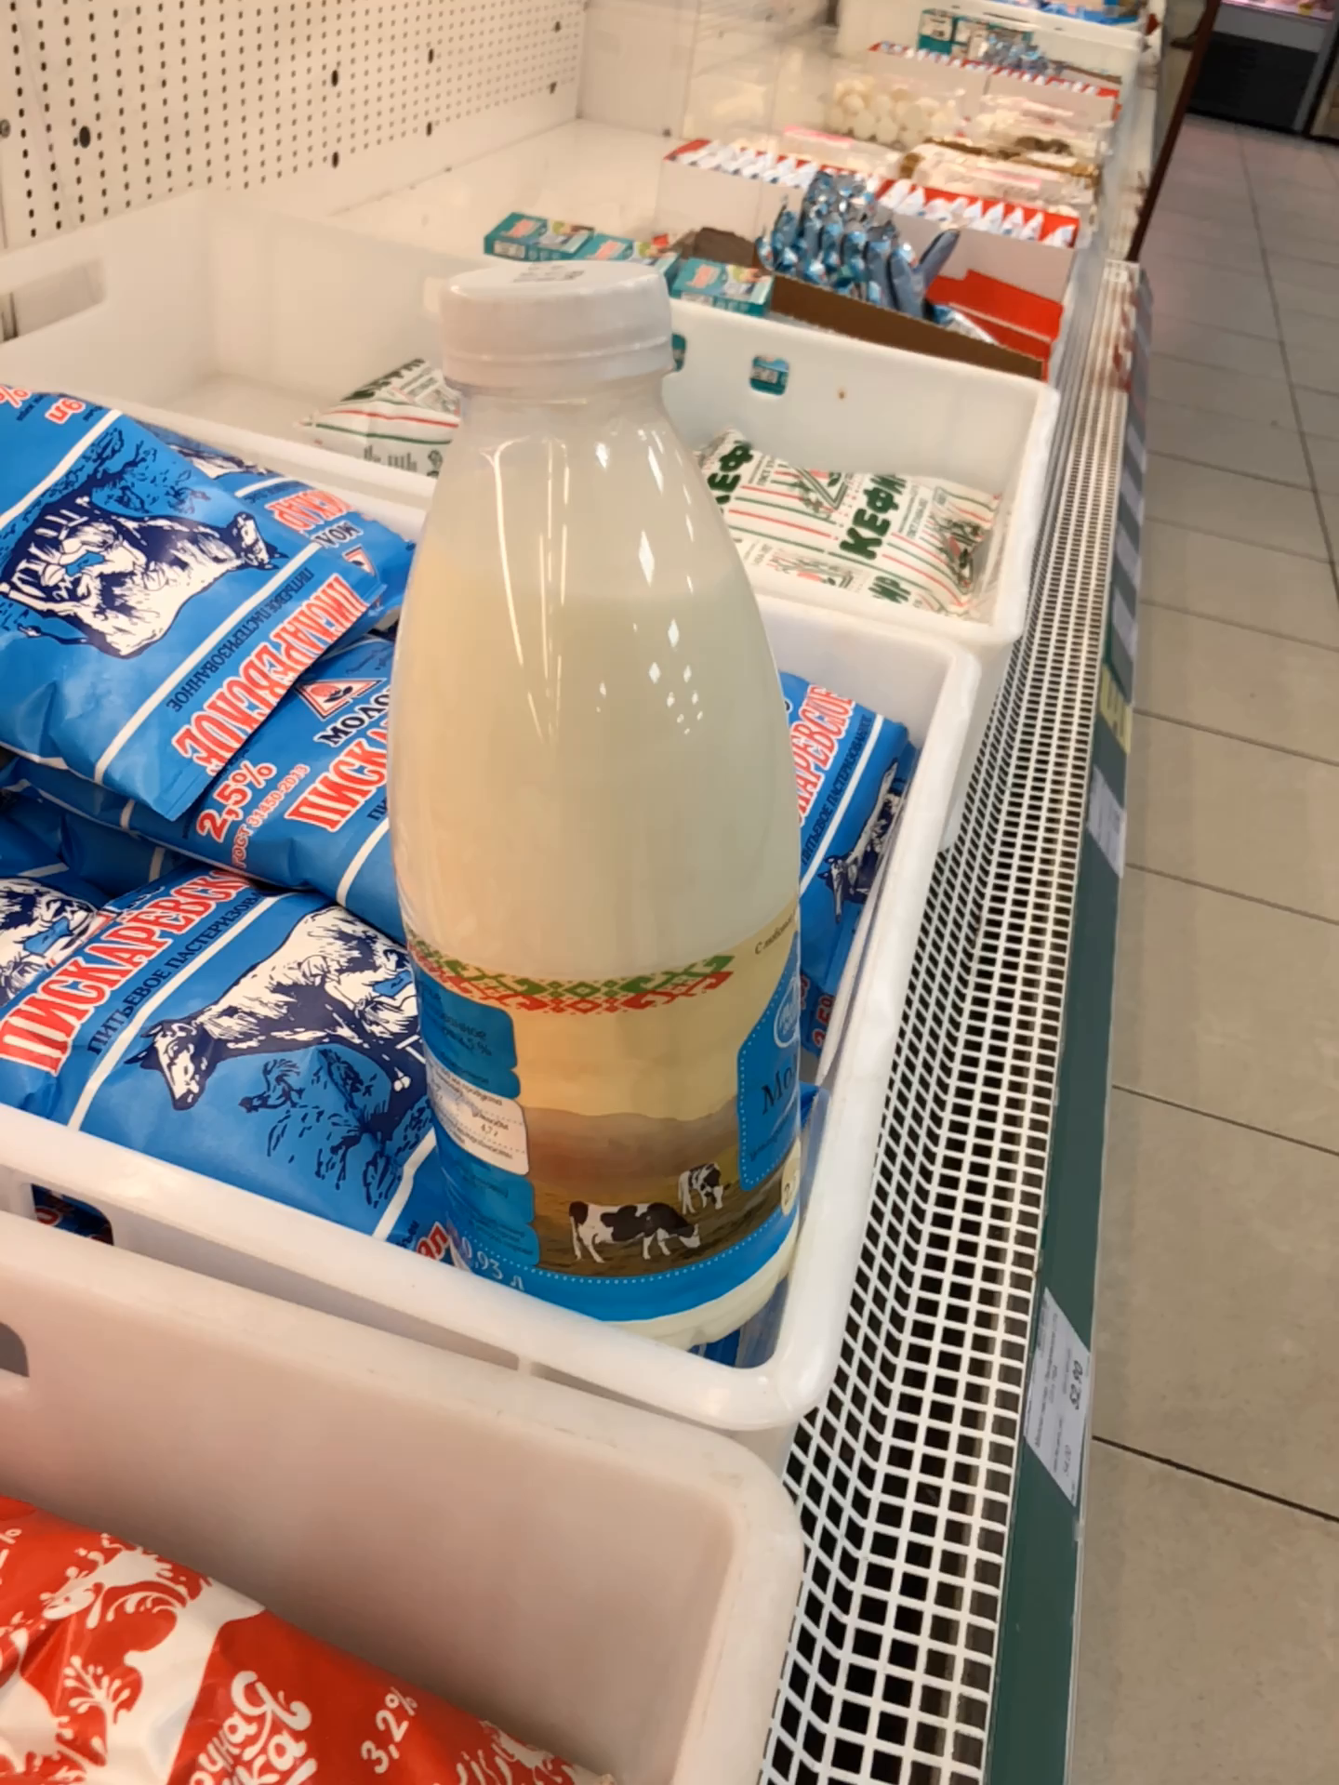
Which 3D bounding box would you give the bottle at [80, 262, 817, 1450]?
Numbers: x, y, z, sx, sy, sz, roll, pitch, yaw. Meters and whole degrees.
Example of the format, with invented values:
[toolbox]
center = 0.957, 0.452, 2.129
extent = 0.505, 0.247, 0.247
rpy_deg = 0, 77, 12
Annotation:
[bottle]
center = -0.027, -0.003, 0.316
extent = 0.090, 0.229, 0.091
rpy_deg = -4, 31, 3
